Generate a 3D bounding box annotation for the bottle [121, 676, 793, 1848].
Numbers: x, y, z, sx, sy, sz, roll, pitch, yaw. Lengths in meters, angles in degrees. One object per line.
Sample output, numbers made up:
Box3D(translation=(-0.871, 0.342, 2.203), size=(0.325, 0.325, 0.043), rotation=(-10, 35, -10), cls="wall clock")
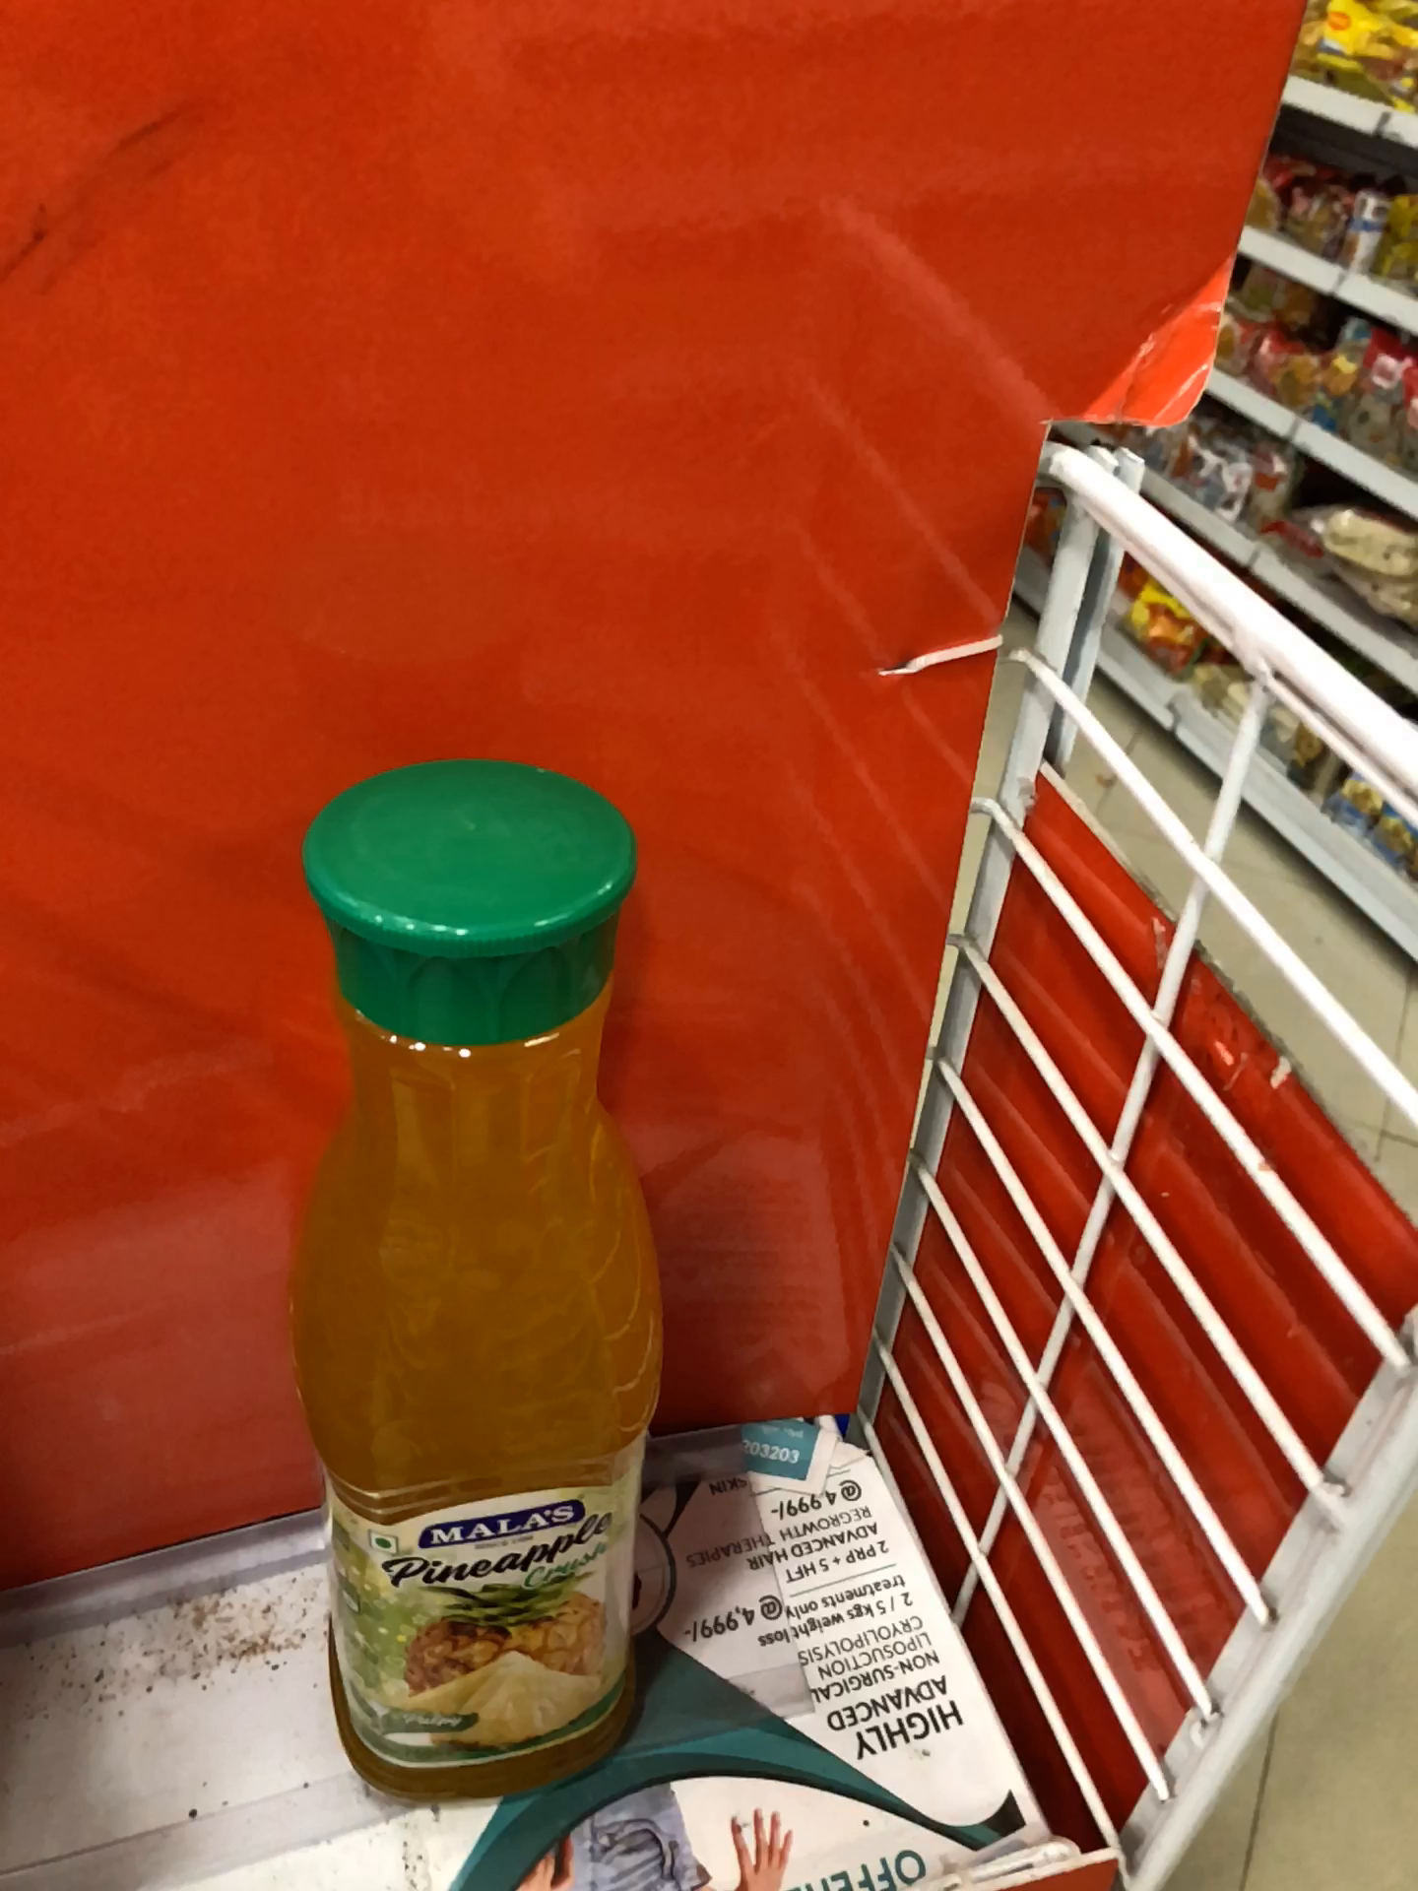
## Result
Box3D(translation=(-0.050, 0.080, 0.318), size=(0.090, 0.258, 0.070), rotation=(-5, 39, -14), cls="bottle")
